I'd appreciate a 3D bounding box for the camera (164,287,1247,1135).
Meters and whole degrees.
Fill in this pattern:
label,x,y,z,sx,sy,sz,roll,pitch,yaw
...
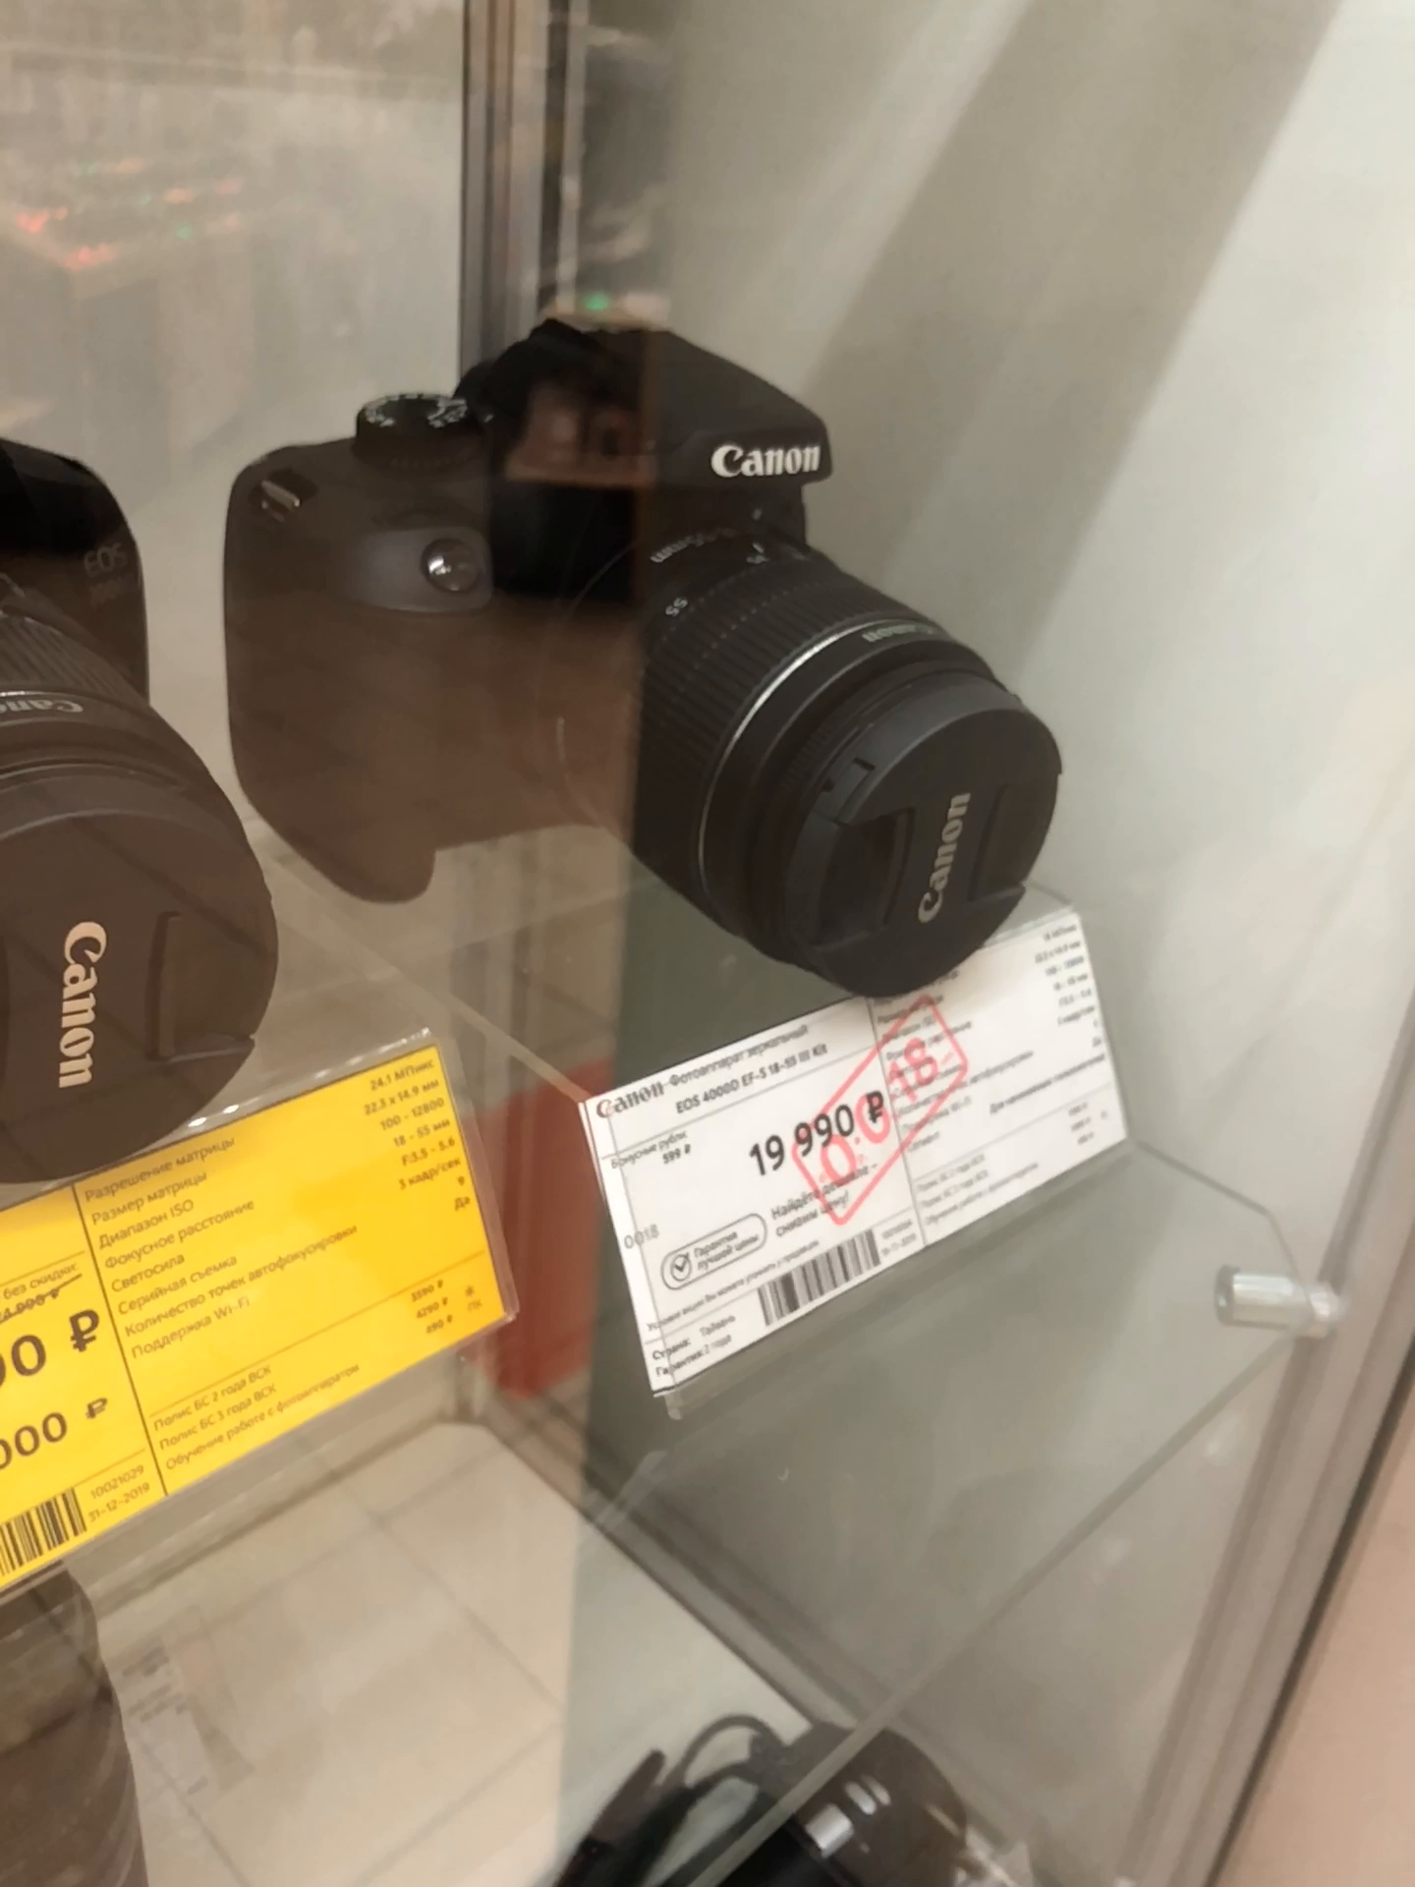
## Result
label,x,y,z,sx,sy,sz,roll,pitch,yaw
camera,-0.007,-0.061,0.300,0.125,0.099,0.147,-19,36,-39
